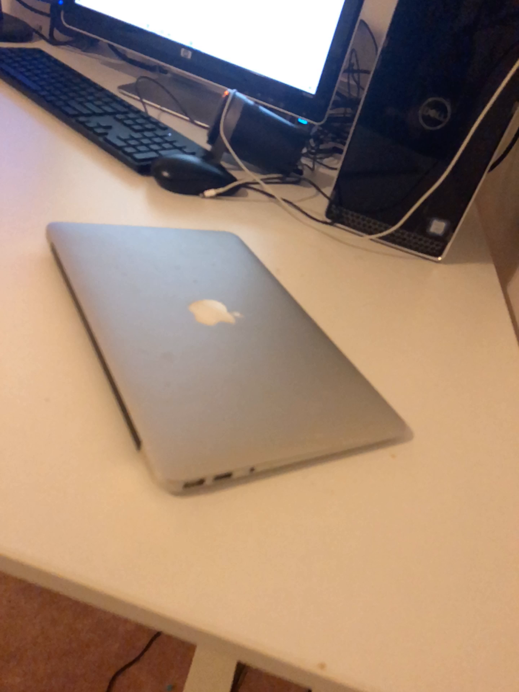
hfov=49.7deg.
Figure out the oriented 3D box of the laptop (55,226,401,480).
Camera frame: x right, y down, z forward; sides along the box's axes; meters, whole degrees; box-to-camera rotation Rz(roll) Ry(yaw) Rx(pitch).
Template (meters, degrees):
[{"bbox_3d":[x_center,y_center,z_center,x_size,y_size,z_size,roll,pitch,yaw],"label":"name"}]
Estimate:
[{"bbox_3d":[-0.040,-0.022,0.454,0.178,0.004,0.292,-5,41,-32],"label":"laptop"}]
